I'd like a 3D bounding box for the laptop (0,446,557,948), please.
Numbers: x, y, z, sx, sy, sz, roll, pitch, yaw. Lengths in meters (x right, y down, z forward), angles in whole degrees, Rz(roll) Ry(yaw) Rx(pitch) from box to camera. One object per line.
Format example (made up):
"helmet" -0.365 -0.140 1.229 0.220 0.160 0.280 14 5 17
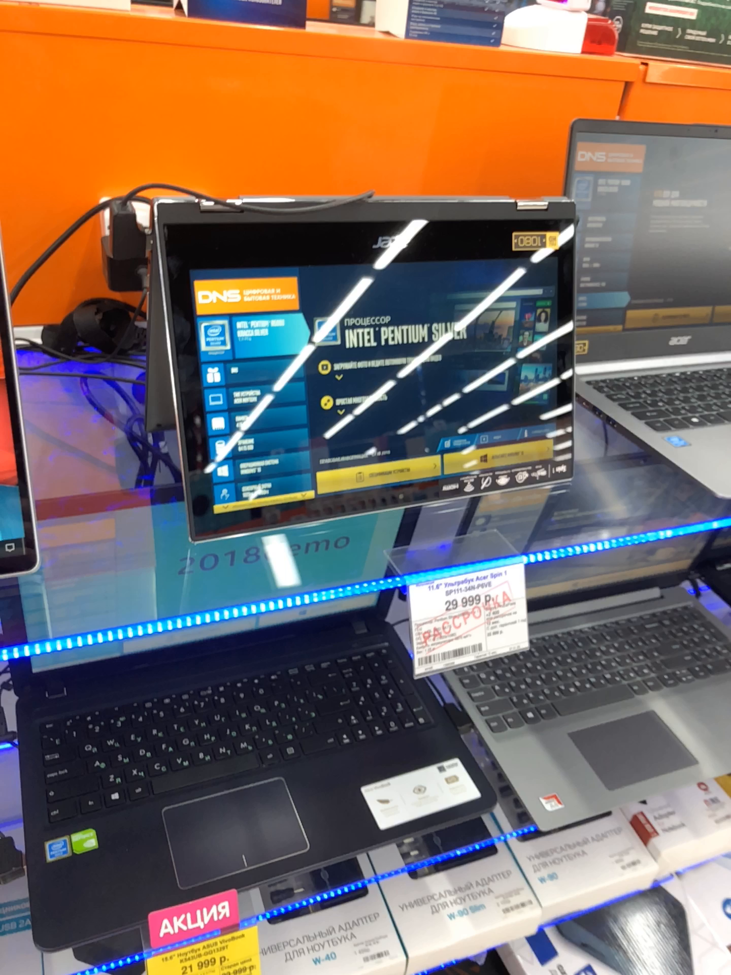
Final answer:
"laptop" -0.085 0.137 0.656 0.361 0.222 0.239 -7 34 -23

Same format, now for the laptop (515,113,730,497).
"laptop" 0.372 -0.176 0.709 0.350 0.209 0.273 -8 35 -25

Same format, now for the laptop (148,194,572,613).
"laptop" -0.024 -0.044 0.633 0.277 0.142 0.181 -7 -4 -20

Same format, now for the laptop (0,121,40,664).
"laptop" -0.381 -0.024 0.505 0.299 0.149 0.182 -8 -1 -24
